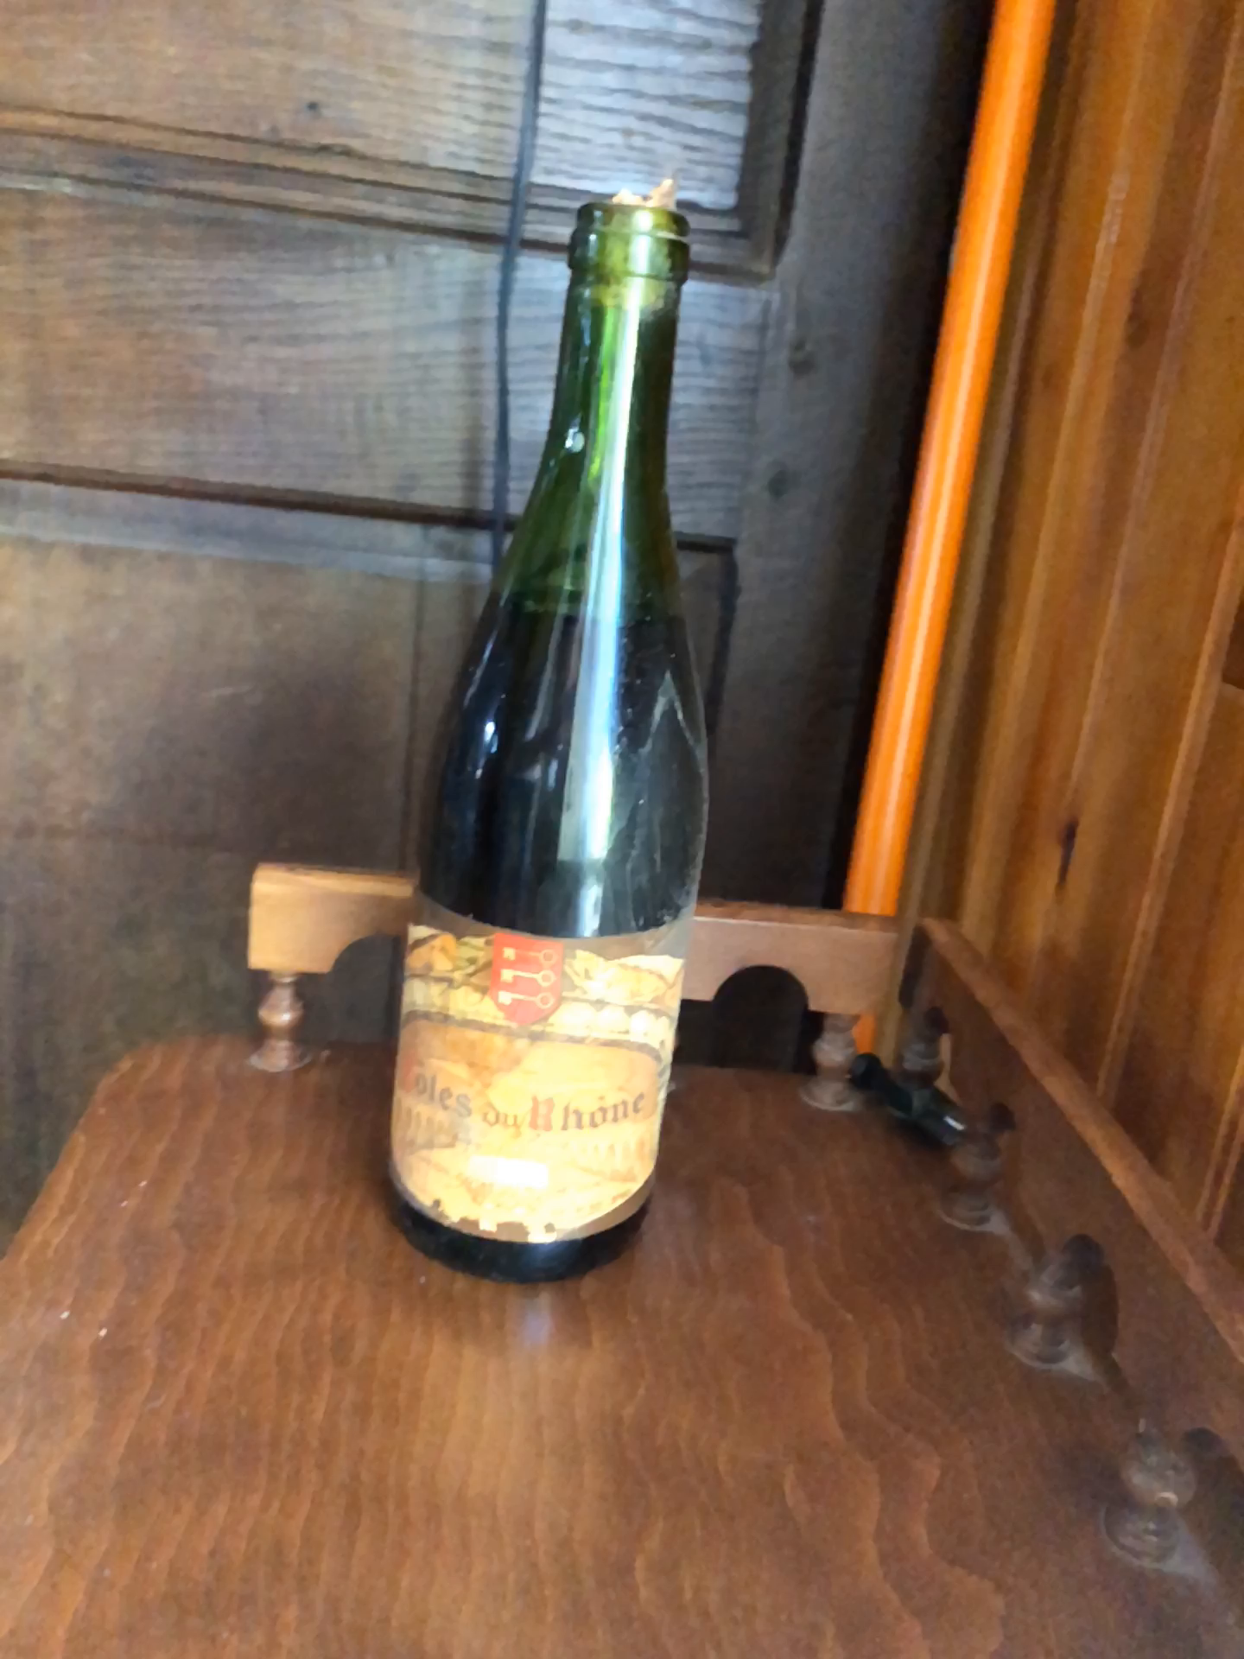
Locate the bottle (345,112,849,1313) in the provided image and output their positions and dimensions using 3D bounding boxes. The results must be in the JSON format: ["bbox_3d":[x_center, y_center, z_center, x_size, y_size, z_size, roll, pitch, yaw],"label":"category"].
[{"bbox_3d":[-0.011,-0.024,0.367,0.090,0.279,0.090,6,17,-2],"label":"bottle"}]
